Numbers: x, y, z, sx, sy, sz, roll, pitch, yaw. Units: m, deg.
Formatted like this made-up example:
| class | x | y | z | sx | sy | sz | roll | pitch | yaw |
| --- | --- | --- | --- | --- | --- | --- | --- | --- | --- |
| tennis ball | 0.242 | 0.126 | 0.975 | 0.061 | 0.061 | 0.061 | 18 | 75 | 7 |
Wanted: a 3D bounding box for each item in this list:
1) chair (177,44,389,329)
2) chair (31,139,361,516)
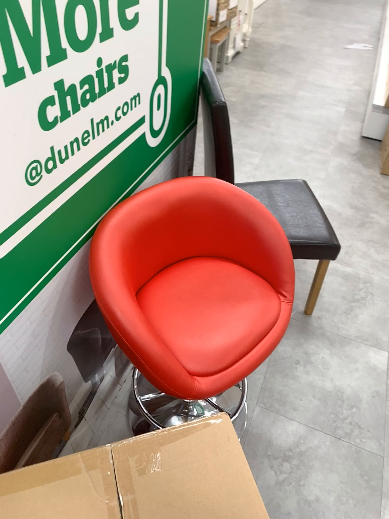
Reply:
| class | x | y | z | sx | sy | sz | roll | pitch | yaw |
| --- | --- | --- | --- | --- | --- | --- | --- | --- | --- |
| chair | 0.247 | -0.231 | 1.452 | 0.531 | 0.853 | 0.509 | -3 | 44 | -9 |
| chair | 0.005 | 0.186 | 1.087 | 0.462 | 0.744 | 0.537 | 31 | 49 | 24 |
